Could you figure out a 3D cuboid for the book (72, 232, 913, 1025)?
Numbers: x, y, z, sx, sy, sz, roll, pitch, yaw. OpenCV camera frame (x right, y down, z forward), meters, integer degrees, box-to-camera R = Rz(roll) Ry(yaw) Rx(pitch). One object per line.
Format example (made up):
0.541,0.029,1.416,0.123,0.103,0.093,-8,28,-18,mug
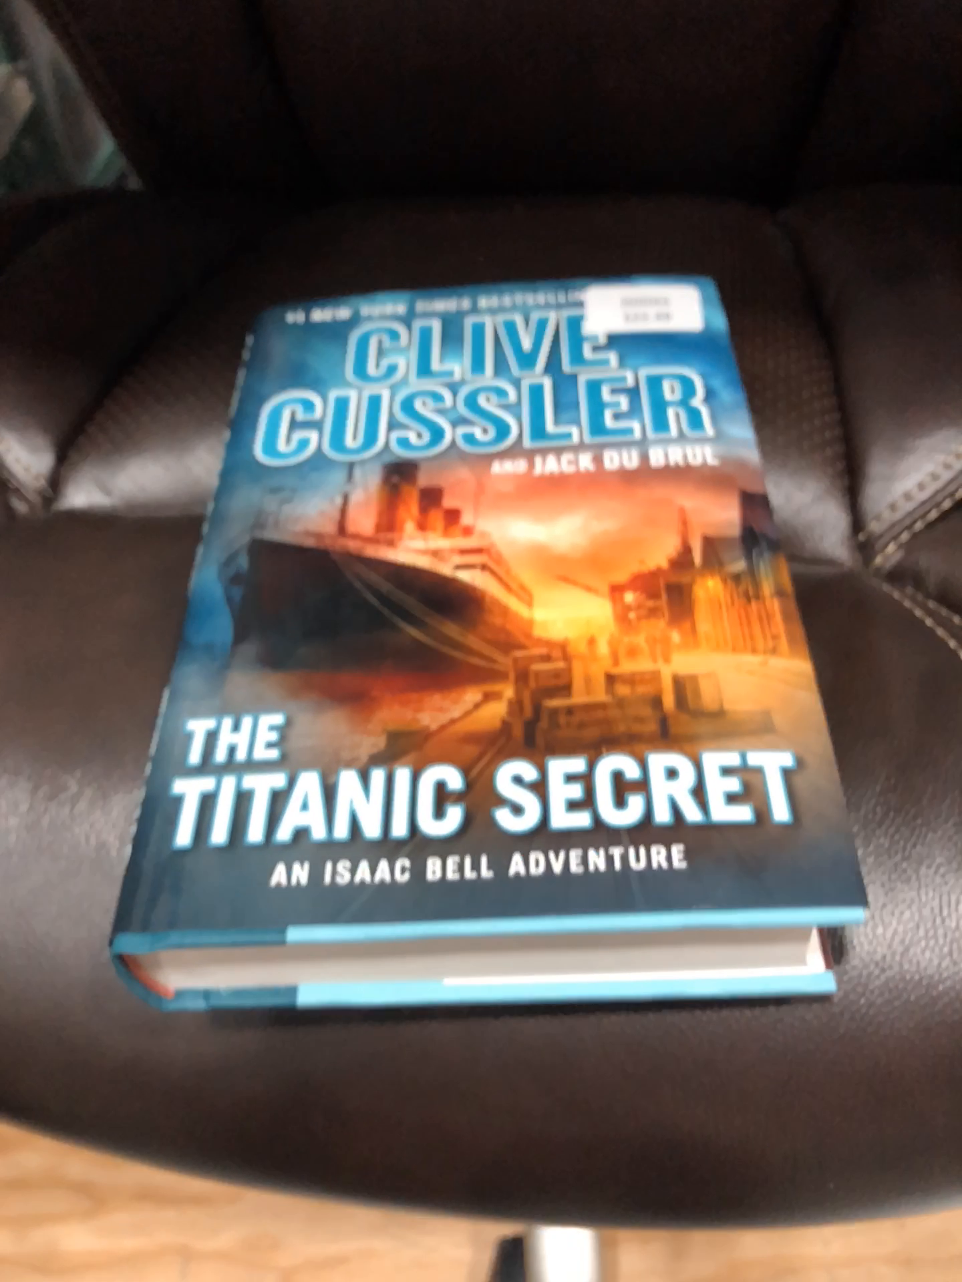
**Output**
0.002,-0.025,0.309,0.165,0.040,0.250,-3,50,4,book
